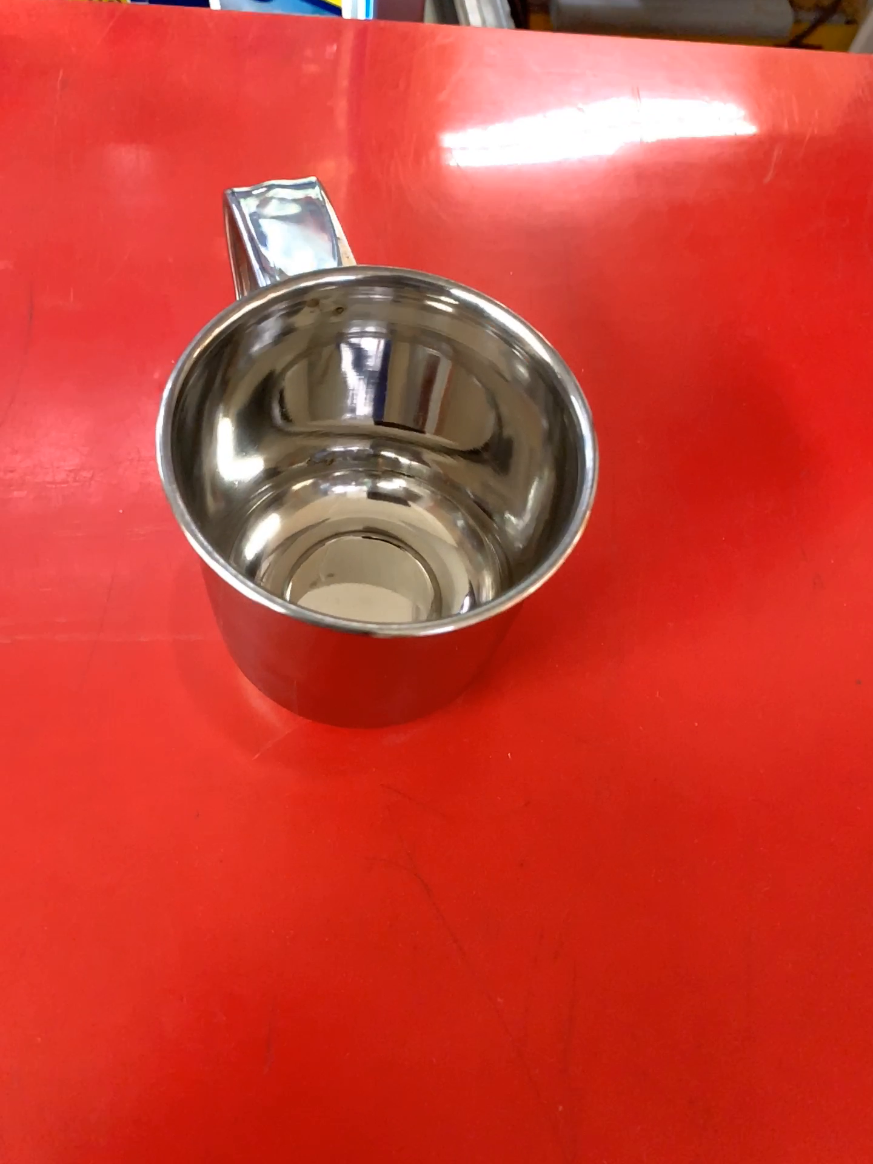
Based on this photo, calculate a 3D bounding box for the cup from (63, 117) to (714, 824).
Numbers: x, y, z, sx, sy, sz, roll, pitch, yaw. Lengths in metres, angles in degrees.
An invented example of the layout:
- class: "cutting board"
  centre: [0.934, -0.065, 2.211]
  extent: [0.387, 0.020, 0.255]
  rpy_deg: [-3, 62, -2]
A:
- class: "cup"
  centre: [-0.016, -0.024, 0.190]
  extent: [0.080, 0.070, 0.110]
  rpy_deg: [-17, 66, -15]
